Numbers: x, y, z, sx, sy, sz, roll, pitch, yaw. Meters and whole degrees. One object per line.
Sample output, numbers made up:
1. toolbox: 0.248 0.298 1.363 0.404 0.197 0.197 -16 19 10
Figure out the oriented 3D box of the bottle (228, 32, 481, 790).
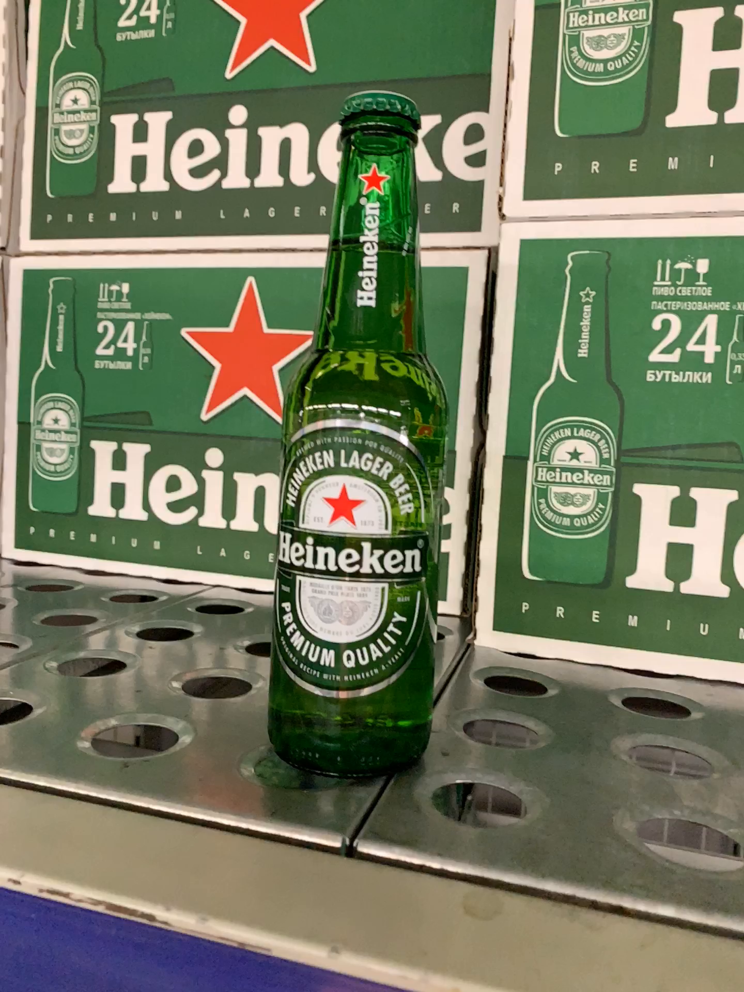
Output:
1. bottle: -0.004 -0.026 0.267 0.060 0.226 0.060 4 4 0
